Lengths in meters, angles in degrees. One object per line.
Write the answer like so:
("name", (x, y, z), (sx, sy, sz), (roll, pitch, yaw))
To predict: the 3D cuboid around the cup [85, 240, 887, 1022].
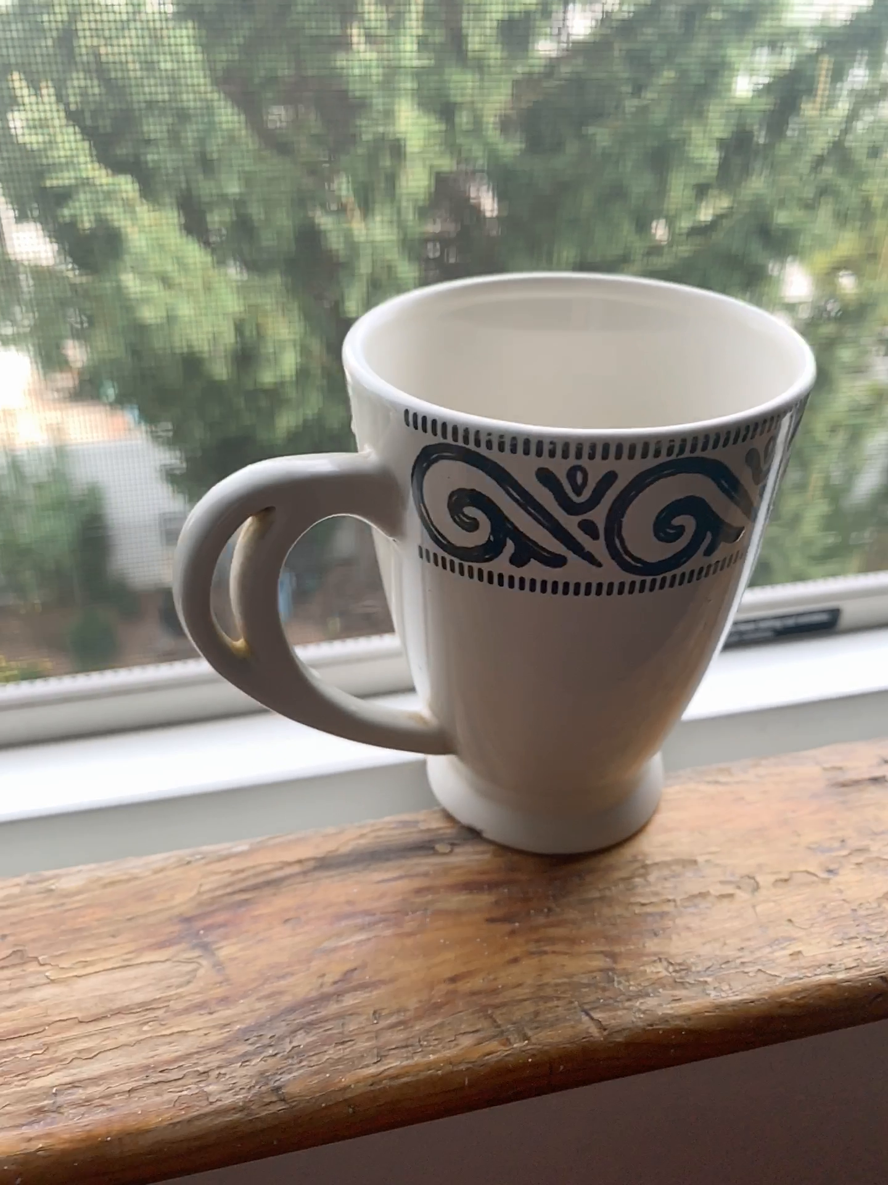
("cup", (0.015, -0.006, 0.180), (0.130, 0.089, 0.080), (-16, 36, -25))
